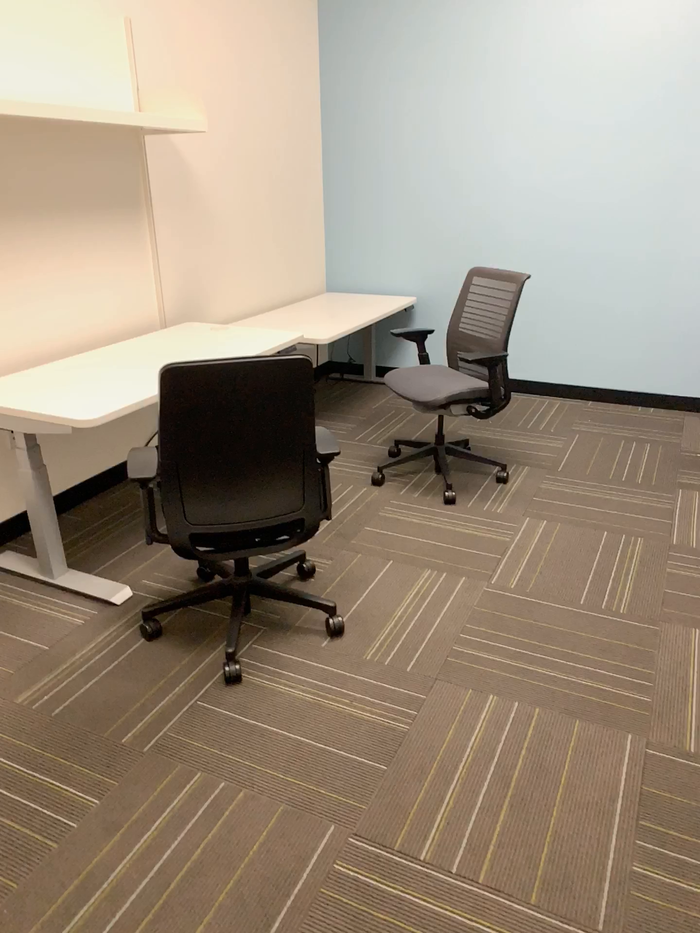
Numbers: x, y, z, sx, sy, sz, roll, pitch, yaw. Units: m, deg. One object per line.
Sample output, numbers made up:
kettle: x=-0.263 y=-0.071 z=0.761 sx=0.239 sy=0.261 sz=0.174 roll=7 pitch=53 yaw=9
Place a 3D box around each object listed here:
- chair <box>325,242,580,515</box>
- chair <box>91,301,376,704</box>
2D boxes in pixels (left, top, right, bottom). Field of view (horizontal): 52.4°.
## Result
chair: x=0.410 y=-0.472 z=3.298 sx=0.770 sy=0.995 sz=0.895 roll=-9 pitch=23 yaw=-20
chair: x=-0.378 y=0.036 z=2.235 sx=0.680 sy=0.935 sz=0.774 roll=-8 pitch=23 yaw=-18
